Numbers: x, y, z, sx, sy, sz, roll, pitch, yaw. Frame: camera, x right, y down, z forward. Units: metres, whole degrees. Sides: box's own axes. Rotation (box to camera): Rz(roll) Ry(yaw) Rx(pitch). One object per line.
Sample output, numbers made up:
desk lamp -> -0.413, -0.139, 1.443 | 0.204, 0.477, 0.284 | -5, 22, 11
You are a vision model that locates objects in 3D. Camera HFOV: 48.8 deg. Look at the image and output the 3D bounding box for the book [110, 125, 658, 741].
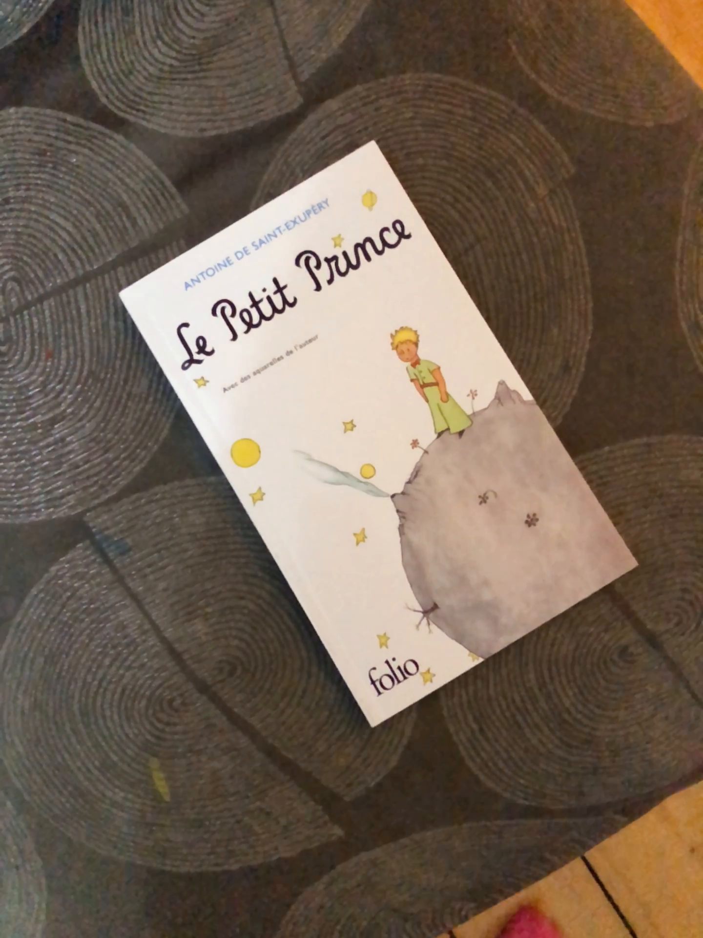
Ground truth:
book -> 0.012, -0.012, 0.269 | 0.110, 0.030, 0.170 | -30, 91, -3
